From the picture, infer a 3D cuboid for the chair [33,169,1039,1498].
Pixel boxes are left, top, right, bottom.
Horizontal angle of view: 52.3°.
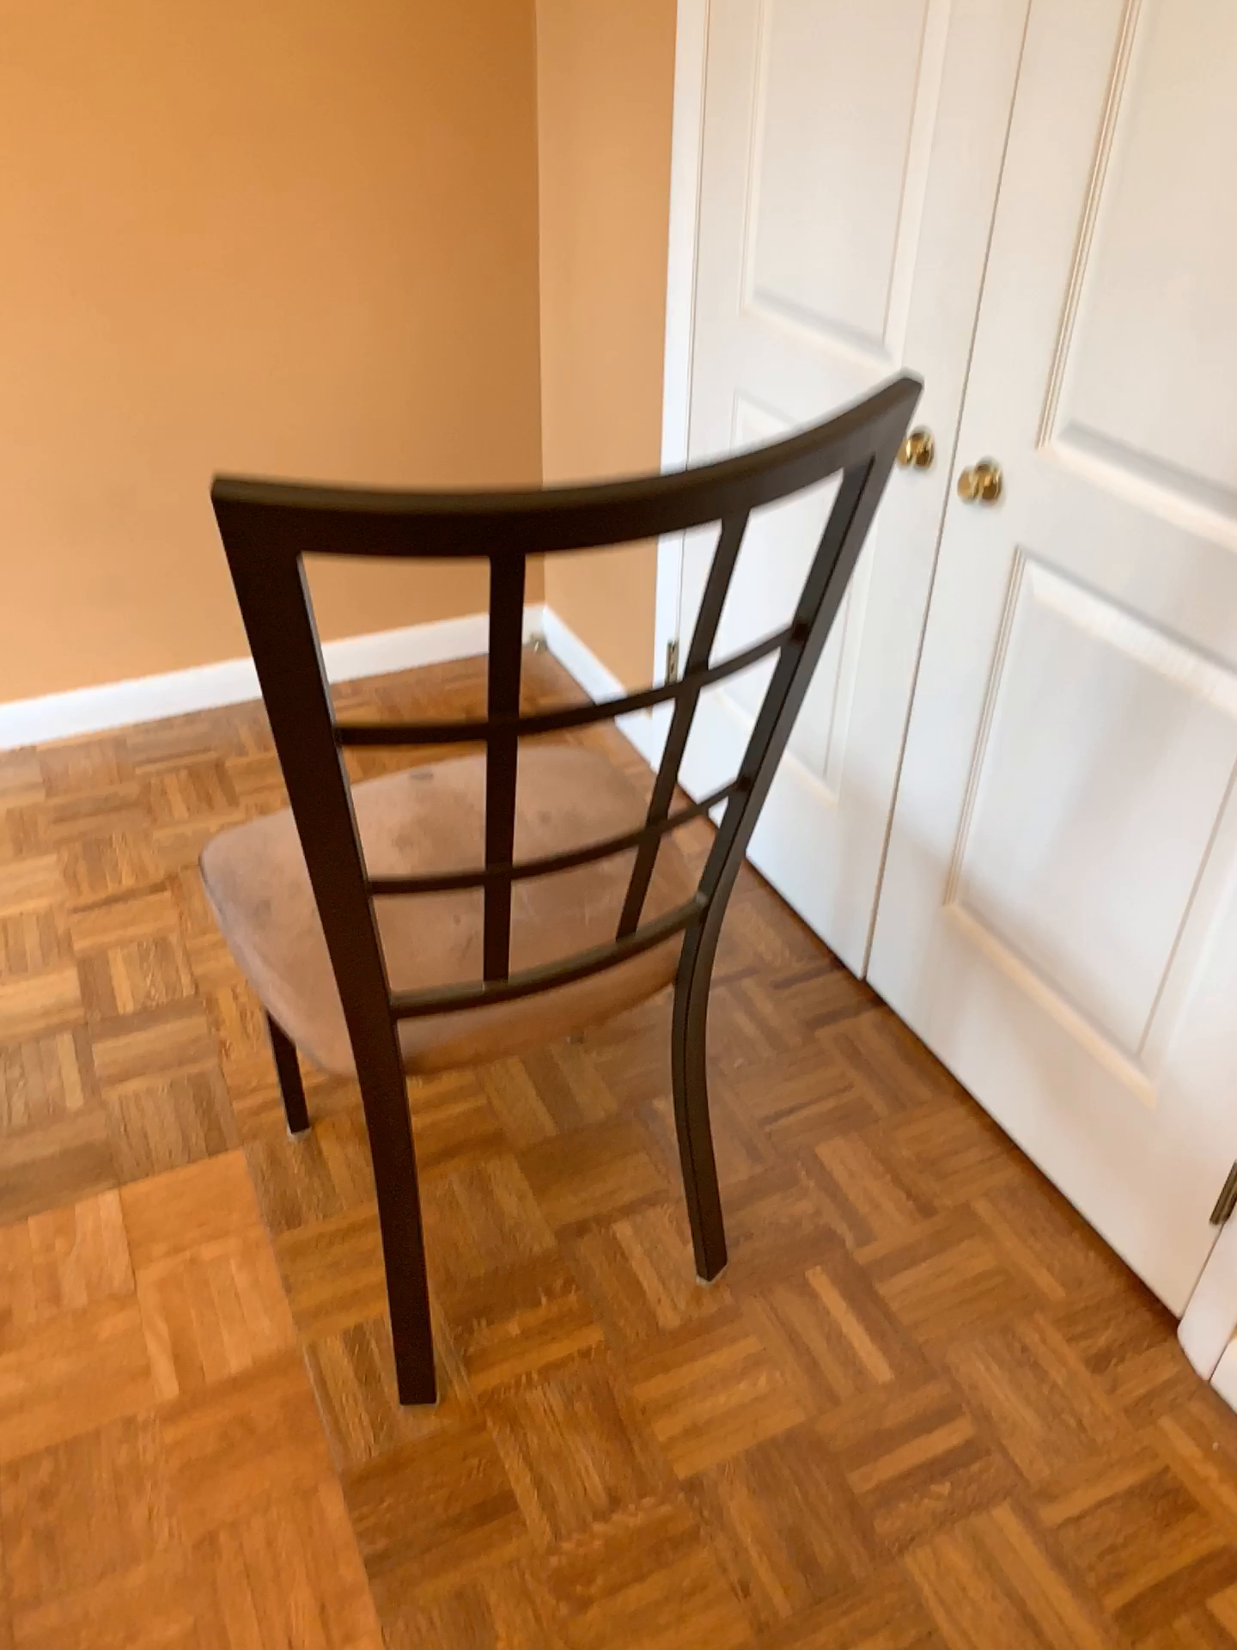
[{"bbox_3d":[-0.127,0.001,1.189,0.511,0.984,0.623,-15,41,-21],"label":"chair"}]
